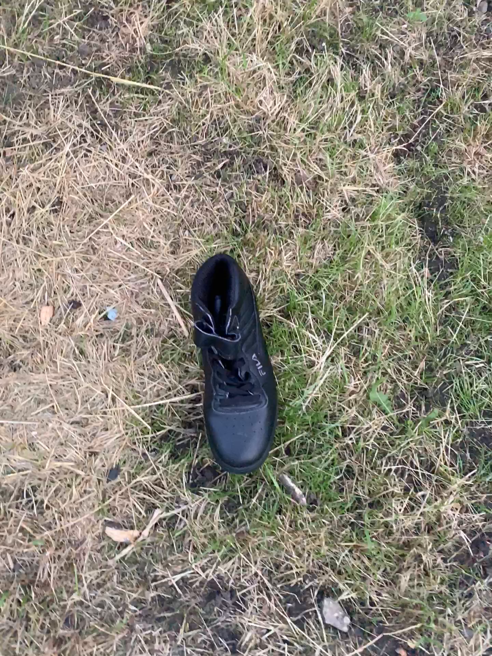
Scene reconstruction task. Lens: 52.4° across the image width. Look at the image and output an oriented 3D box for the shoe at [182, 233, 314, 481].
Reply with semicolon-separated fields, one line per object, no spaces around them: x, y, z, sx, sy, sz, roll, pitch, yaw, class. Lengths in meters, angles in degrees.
-0.007;0.038;0.612;0.110;0.120;0.271;-6;75;-7;shoe
